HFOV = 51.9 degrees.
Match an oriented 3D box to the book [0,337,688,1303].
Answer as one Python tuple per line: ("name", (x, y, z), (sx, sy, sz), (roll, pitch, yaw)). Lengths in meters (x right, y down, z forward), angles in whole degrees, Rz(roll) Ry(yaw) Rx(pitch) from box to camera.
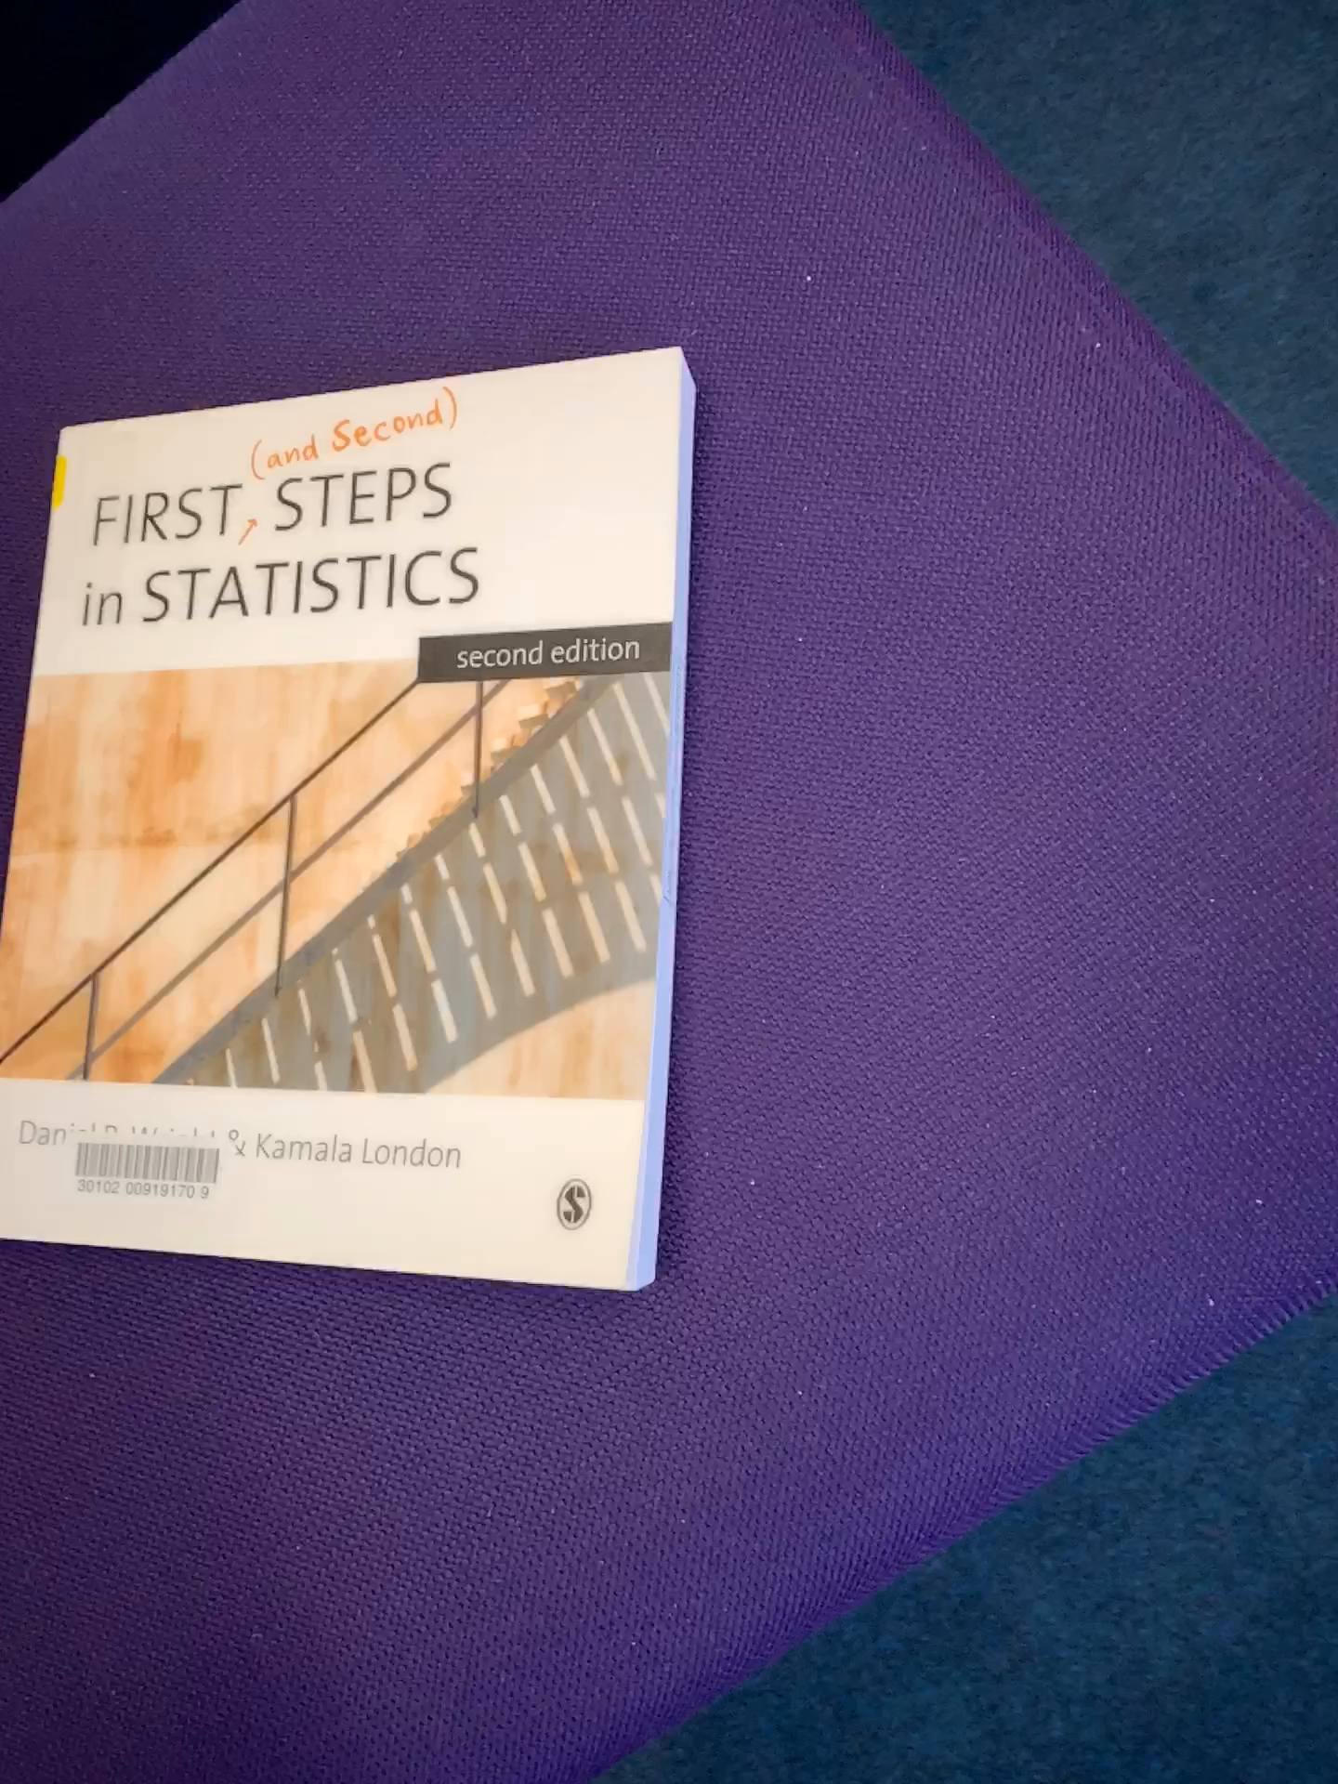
("book", (-0.093, -0.021, 0.353), (0.188, 0.022, 0.229), (-1, 79, 16))
